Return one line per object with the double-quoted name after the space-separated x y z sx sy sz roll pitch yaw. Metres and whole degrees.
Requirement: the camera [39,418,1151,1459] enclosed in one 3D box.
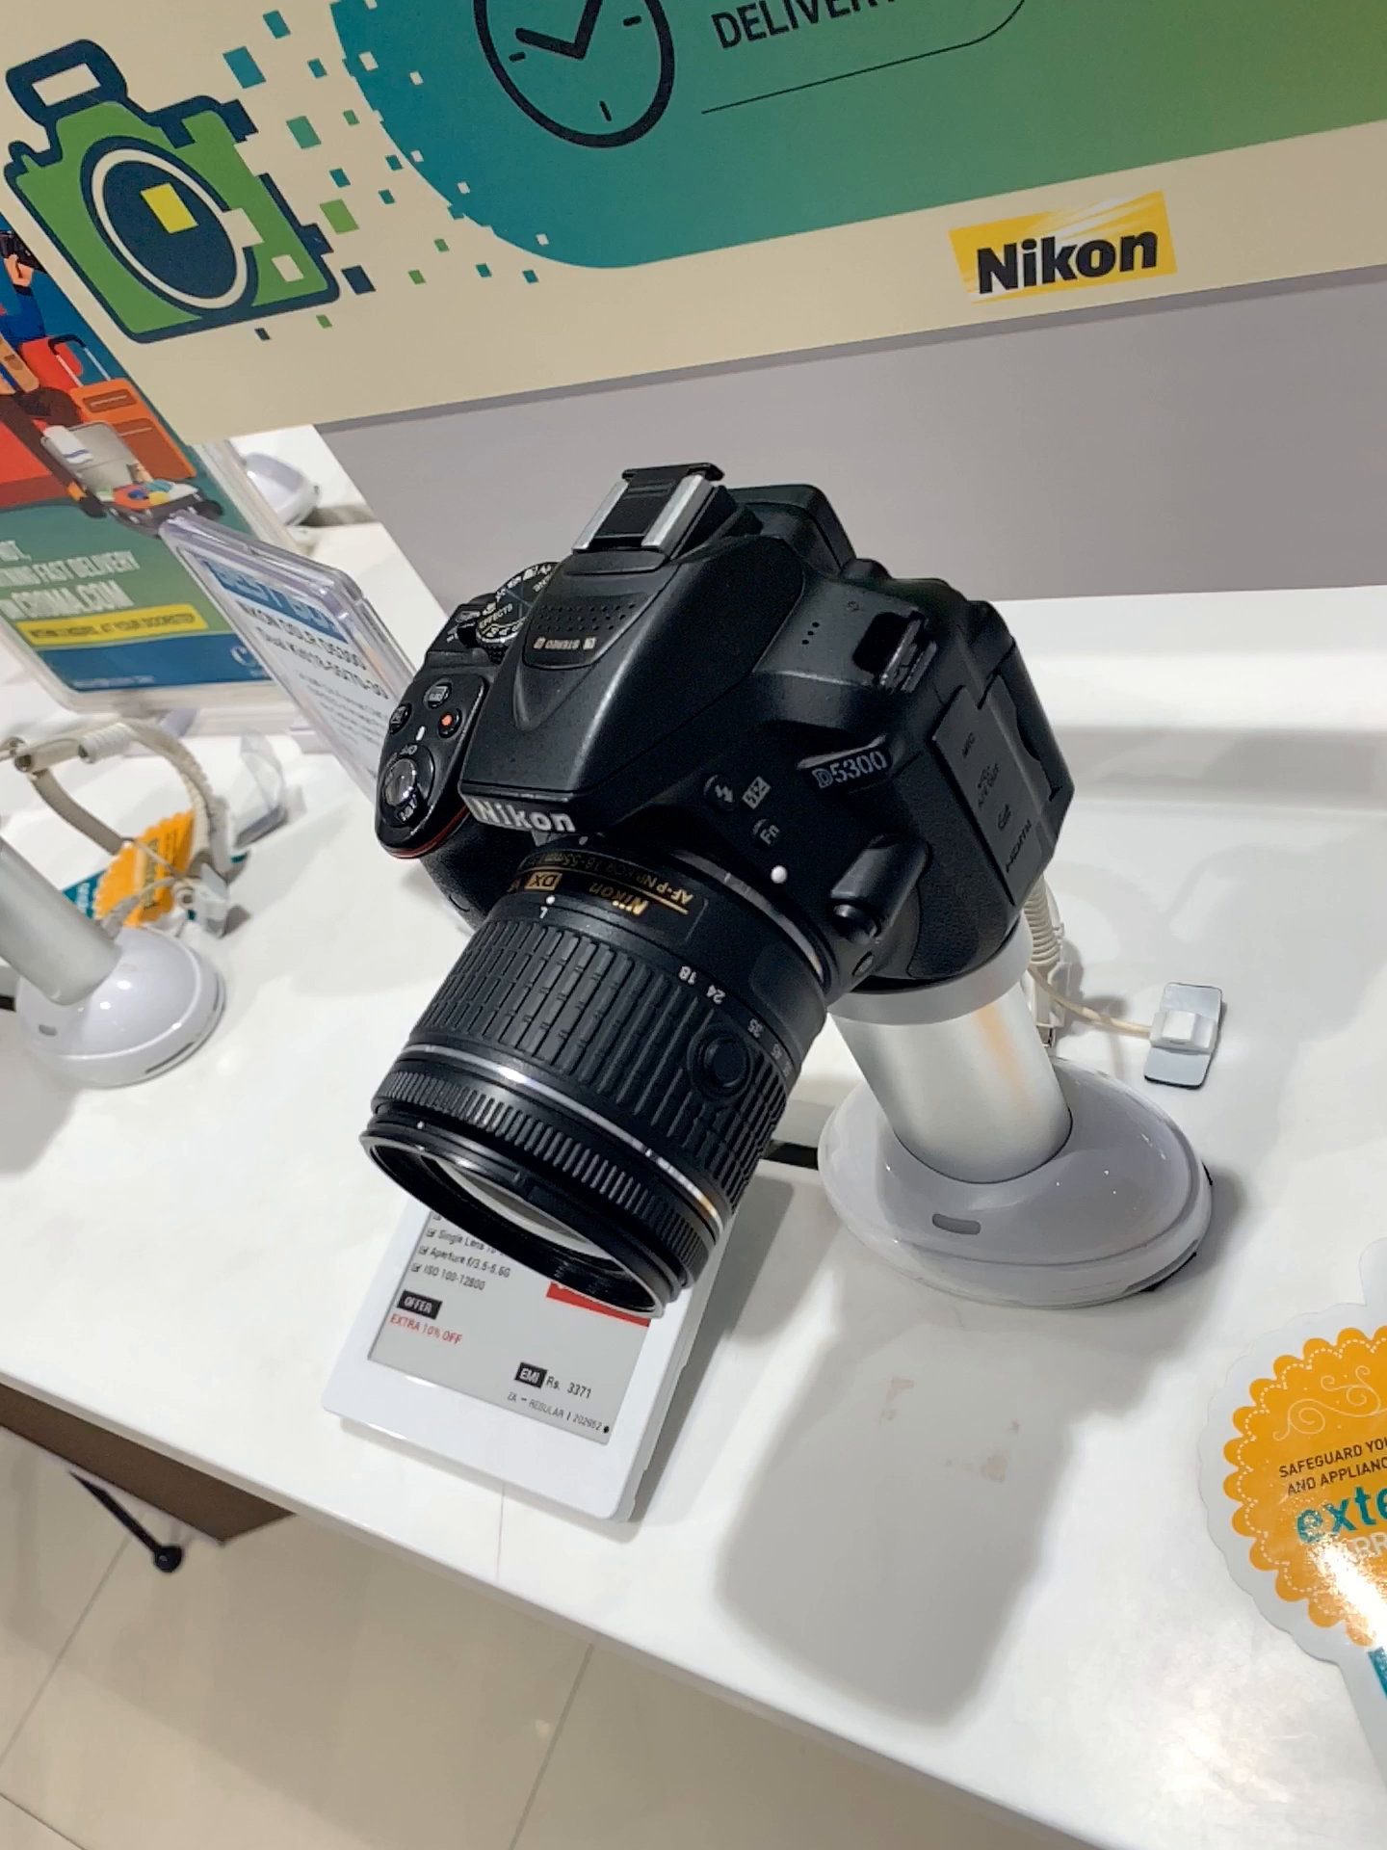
-0.006 -0.004 0.233 0.119 0.082 0.122 5 55 33 "camera"
